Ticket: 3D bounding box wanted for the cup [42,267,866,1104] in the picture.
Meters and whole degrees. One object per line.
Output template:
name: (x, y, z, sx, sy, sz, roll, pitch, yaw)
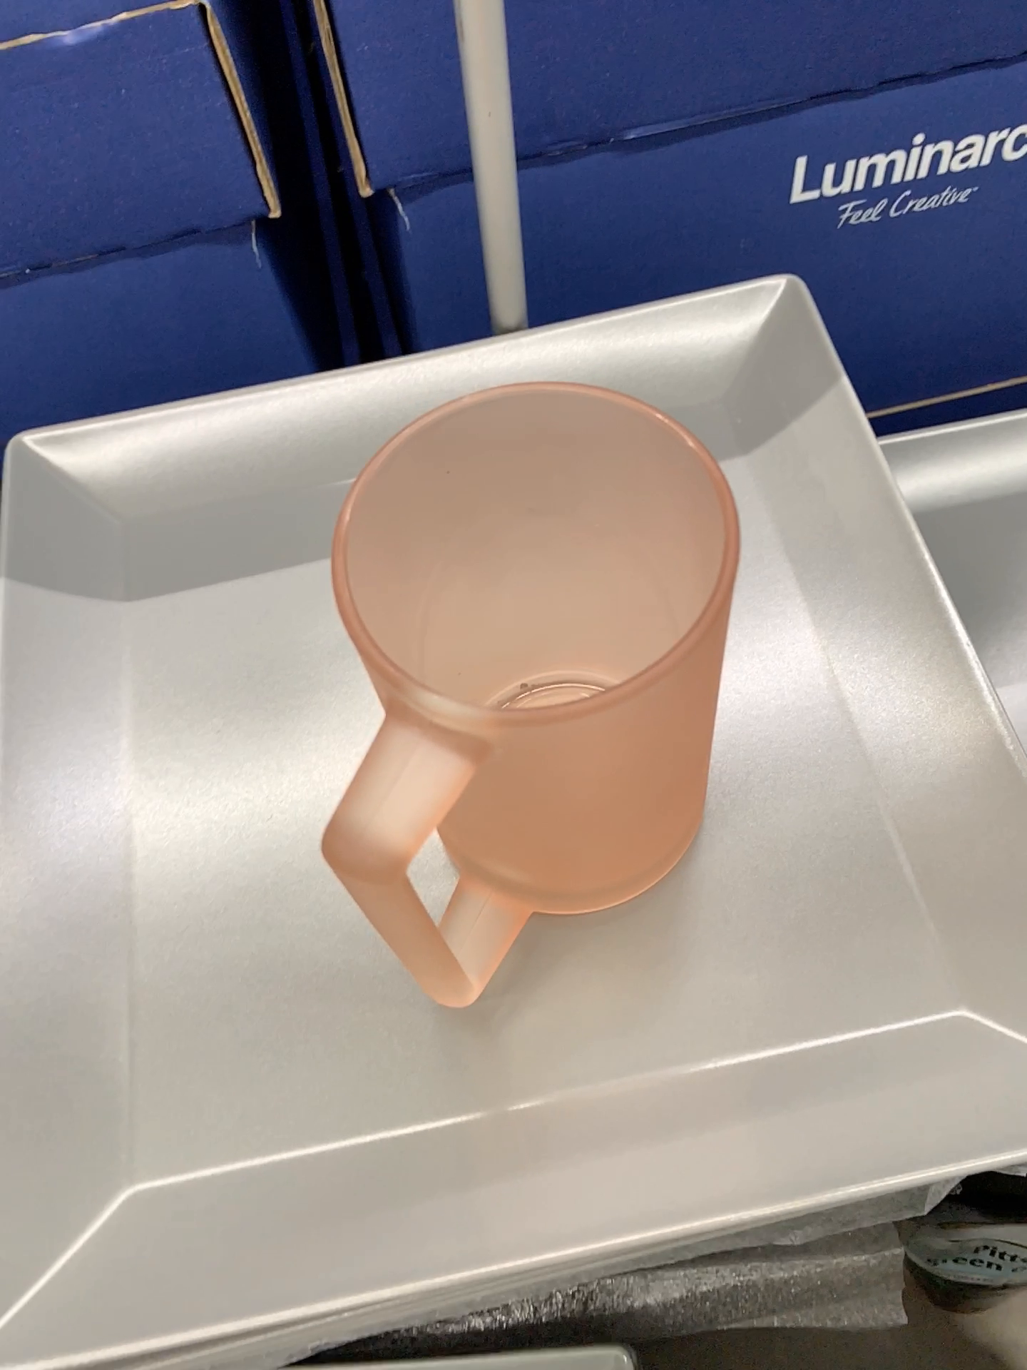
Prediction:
cup: (-0.003, 0.000, 0.227, 0.095, 0.095, 0.120, 27, 65, 21)
